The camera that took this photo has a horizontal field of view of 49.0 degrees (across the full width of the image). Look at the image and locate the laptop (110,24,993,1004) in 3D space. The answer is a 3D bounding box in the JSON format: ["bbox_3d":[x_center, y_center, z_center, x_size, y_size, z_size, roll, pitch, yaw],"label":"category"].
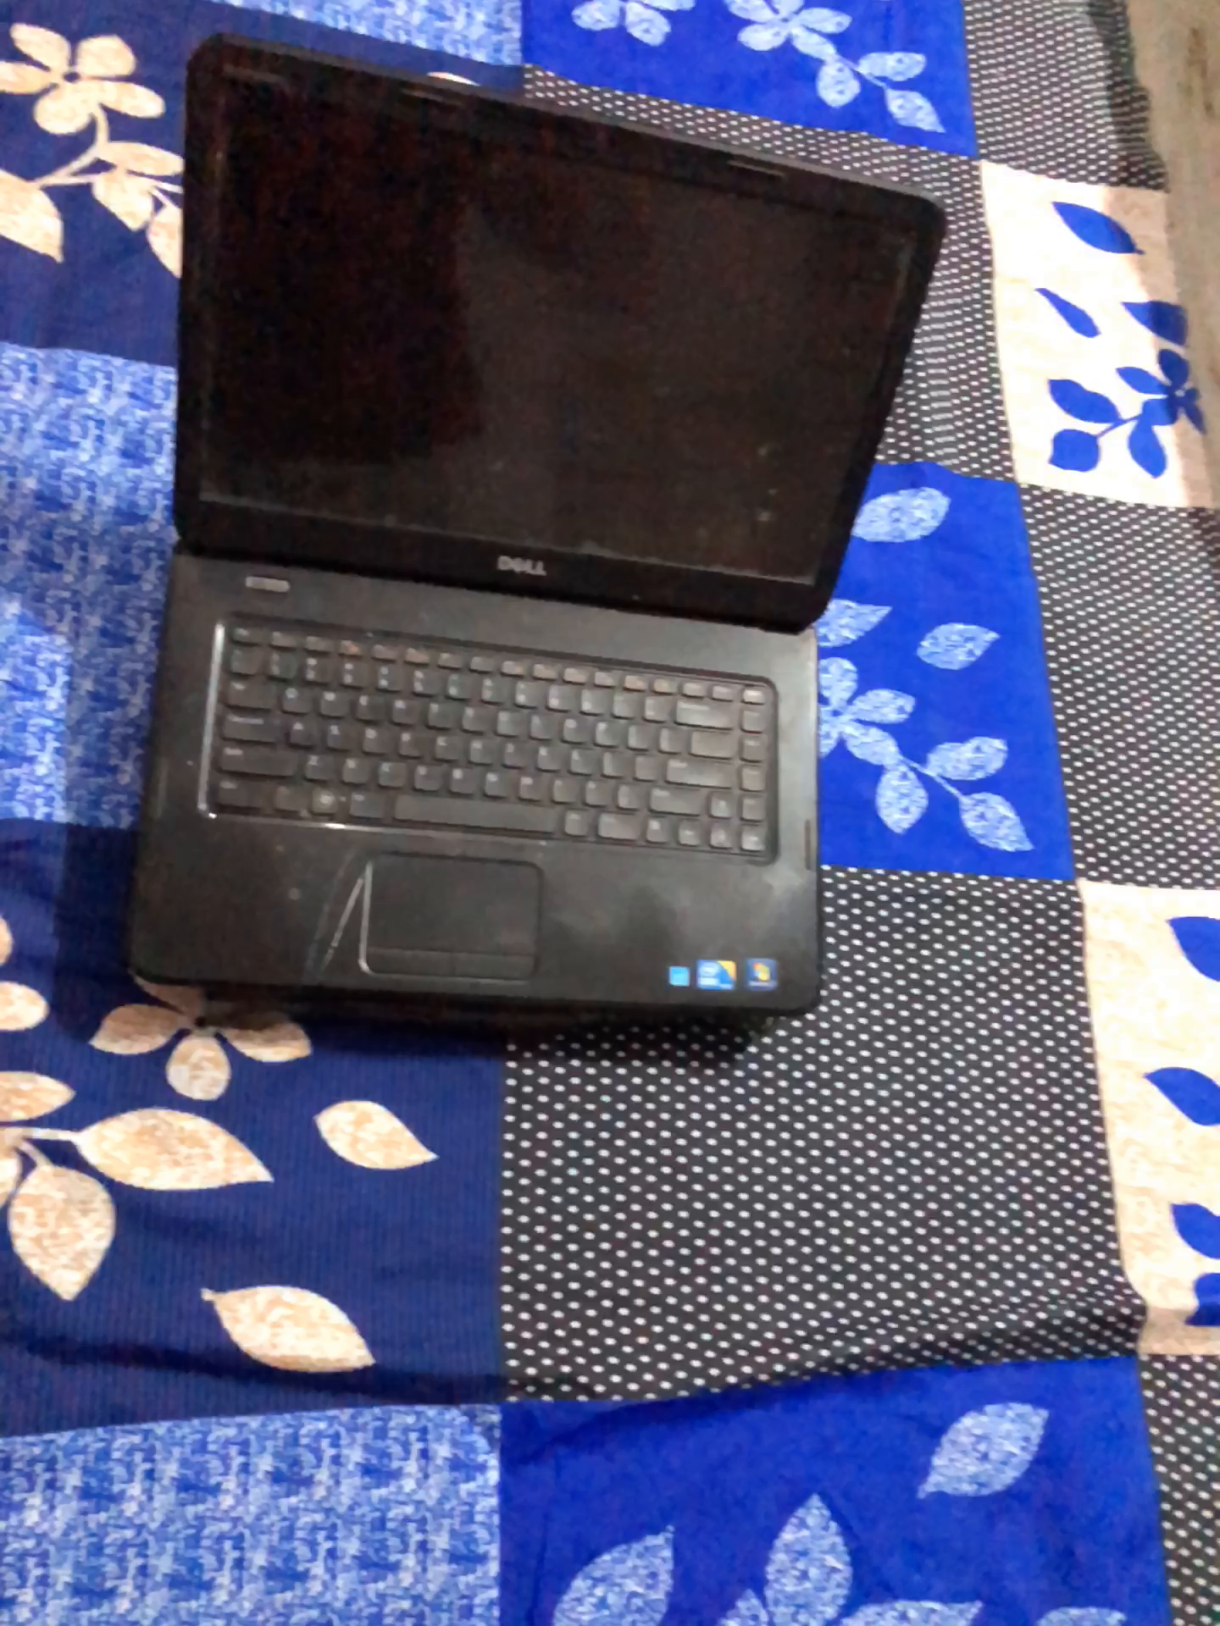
[{"bbox_3d":[-0.029,-0.122,0.675,0.363,0.187,0.389,5,72,-16],"label":"laptop"}]
